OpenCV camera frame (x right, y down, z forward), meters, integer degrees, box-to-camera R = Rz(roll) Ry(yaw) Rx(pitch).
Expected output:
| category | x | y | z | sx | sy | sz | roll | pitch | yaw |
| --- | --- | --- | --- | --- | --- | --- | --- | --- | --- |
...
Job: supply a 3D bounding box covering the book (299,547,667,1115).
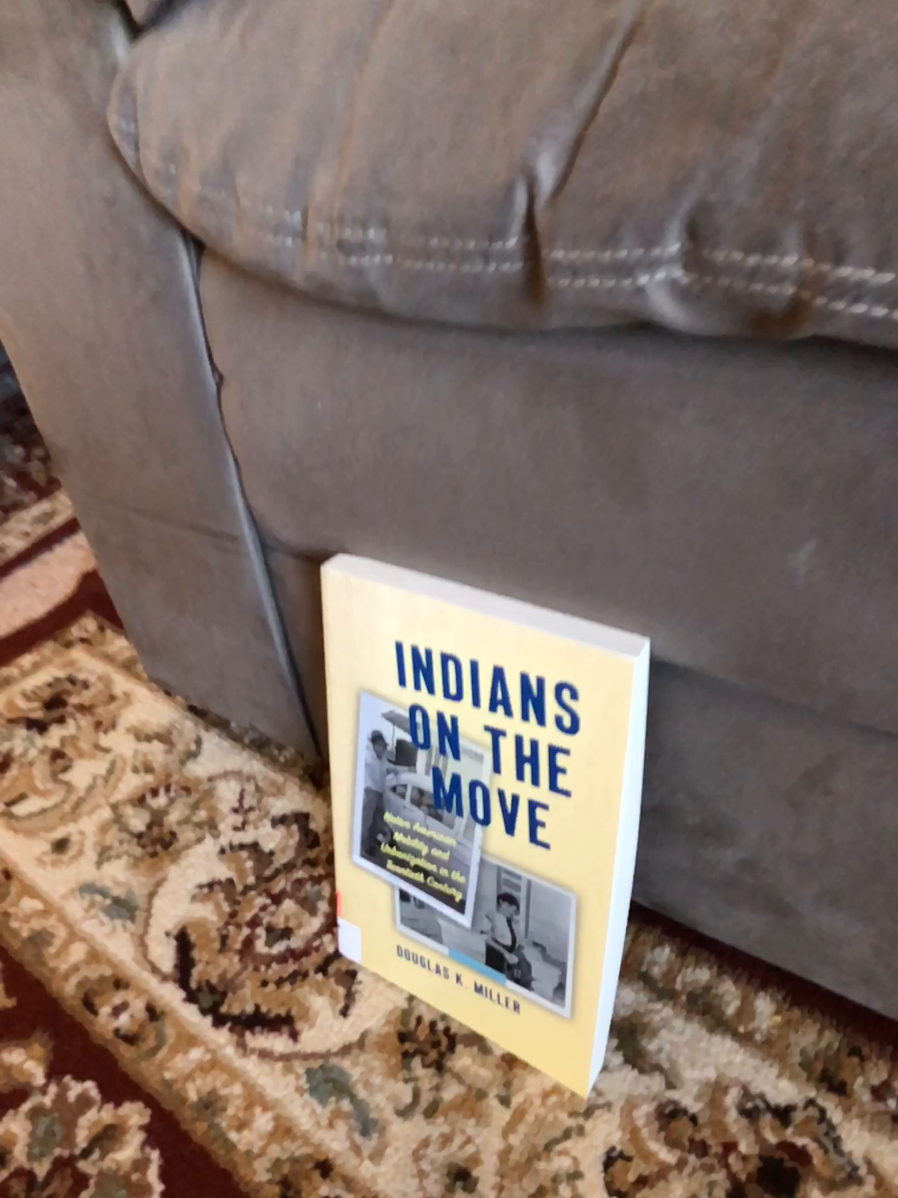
| category | x | y | z | sx | sy | sz | roll | pitch | yaw |
| --- | --- | --- | --- | --- | --- | --- | --- | --- | --- |
| book | 0.011 | 0.104 | 0.446 | 0.160 | 0.230 | 0.030 | 16 | 31 | 33 |
